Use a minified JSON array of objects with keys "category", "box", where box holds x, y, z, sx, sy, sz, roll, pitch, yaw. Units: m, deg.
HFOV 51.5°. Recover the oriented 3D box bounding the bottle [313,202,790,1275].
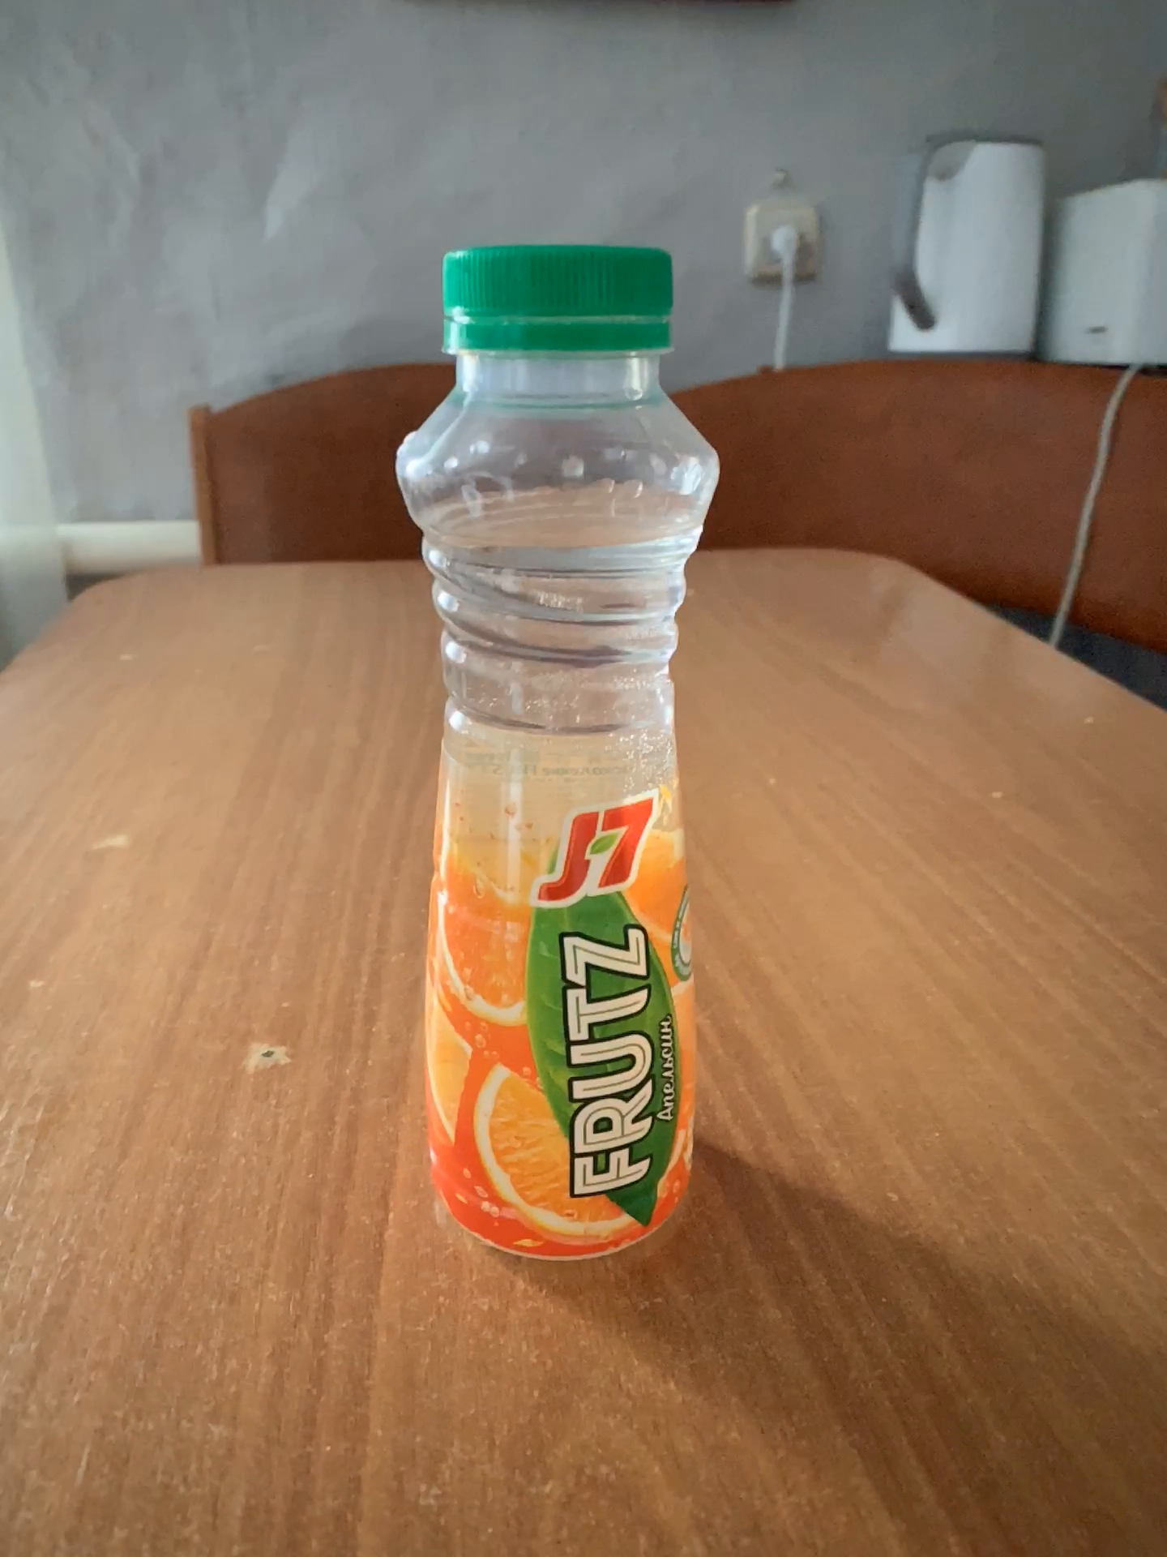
[{"category":"bottle","box":[-0.006,-0.005,0.248,0.070,0.201,0.071,0,22,0]}]
